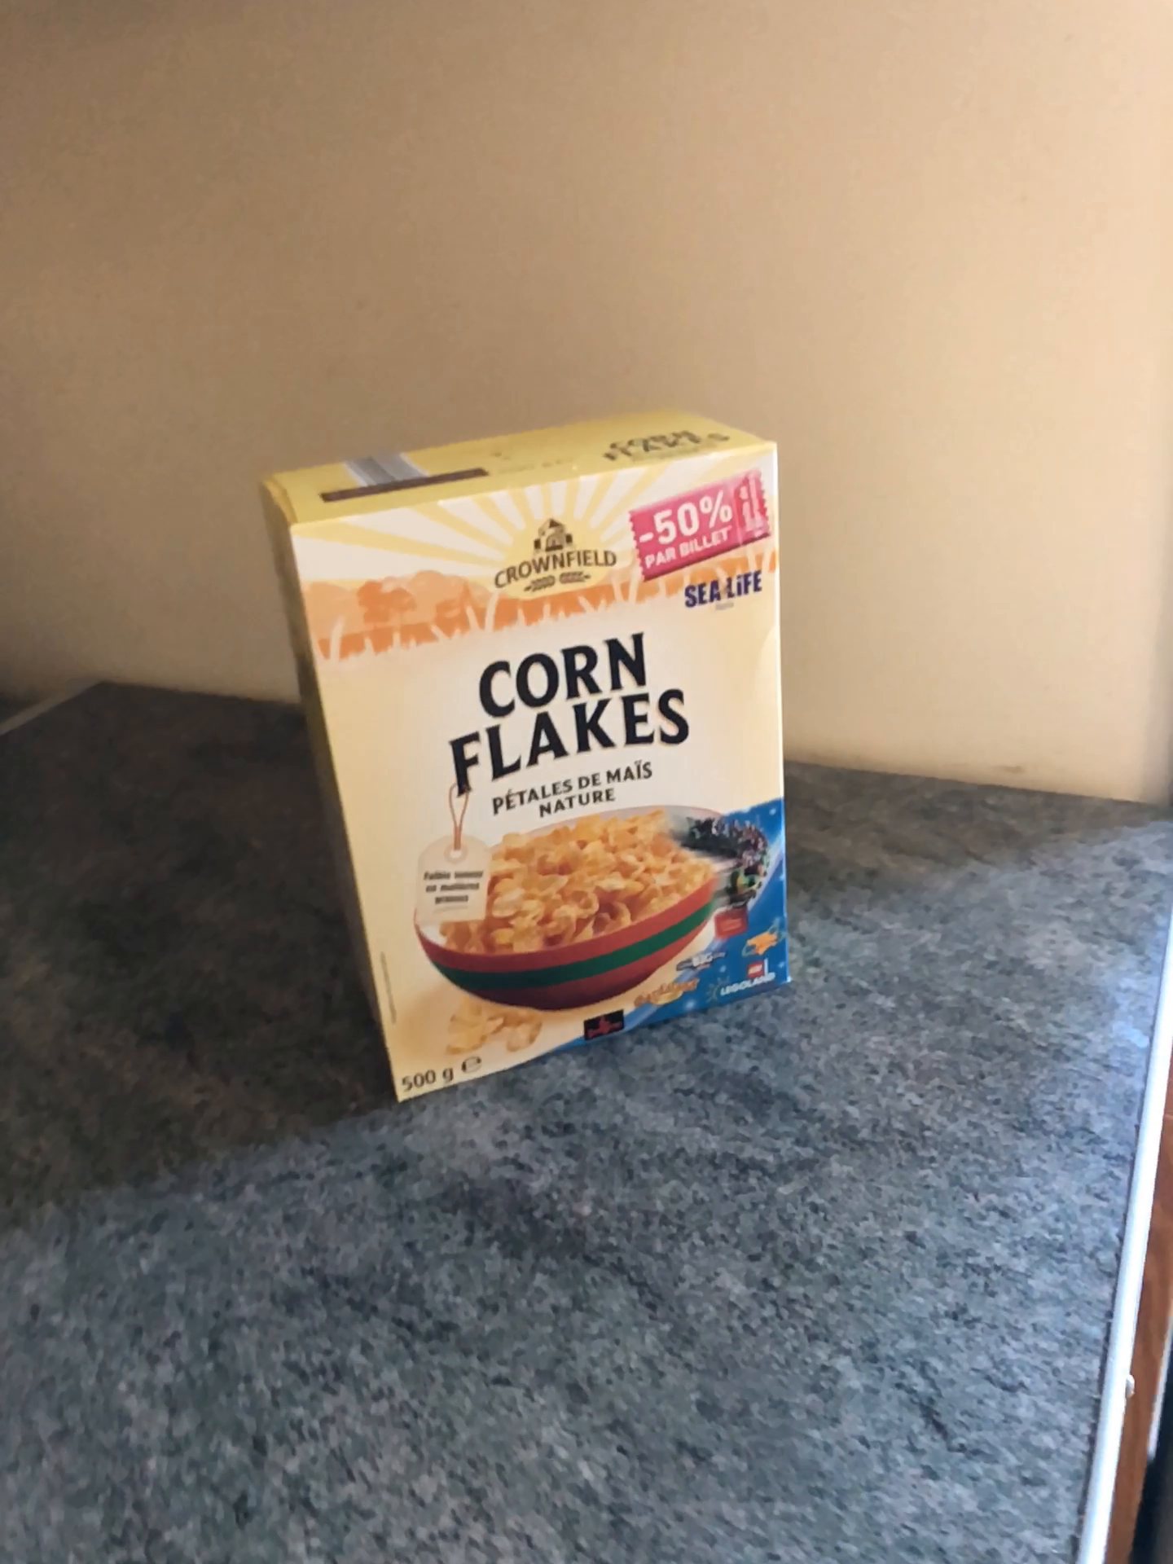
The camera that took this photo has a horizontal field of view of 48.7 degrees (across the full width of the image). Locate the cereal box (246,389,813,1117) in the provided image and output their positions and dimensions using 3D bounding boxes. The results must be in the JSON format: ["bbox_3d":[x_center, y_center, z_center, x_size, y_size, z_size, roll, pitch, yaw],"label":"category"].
[{"bbox_3d":[-0.016,-0.017,0.558,0.200,0.259,0.100,-12,27,-16],"label":"cereal box"}]
